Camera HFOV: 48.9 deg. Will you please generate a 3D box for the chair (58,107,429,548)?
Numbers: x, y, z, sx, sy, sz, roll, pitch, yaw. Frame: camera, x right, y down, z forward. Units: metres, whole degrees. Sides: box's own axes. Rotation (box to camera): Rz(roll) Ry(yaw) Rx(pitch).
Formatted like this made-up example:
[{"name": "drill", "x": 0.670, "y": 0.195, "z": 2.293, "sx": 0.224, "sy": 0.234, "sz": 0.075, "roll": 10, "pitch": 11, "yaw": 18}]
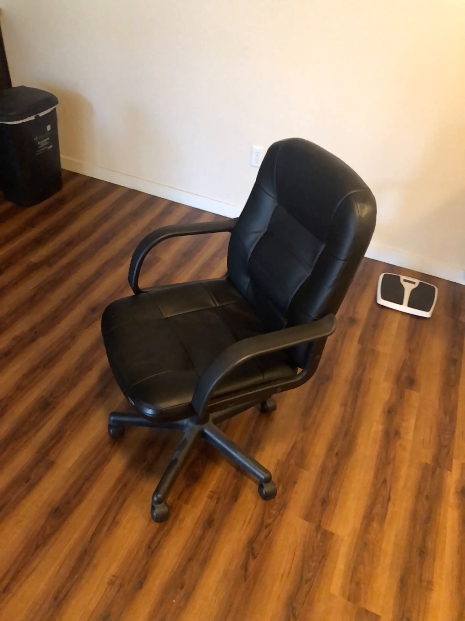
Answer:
[{"name": "chair", "x": -0.050, "y": 0.038, "z": 1.538, "sx": 0.668, "sy": 1.012, "sz": 0.665, "roll": -13, "pitch": 43, "yaw": -22}]
